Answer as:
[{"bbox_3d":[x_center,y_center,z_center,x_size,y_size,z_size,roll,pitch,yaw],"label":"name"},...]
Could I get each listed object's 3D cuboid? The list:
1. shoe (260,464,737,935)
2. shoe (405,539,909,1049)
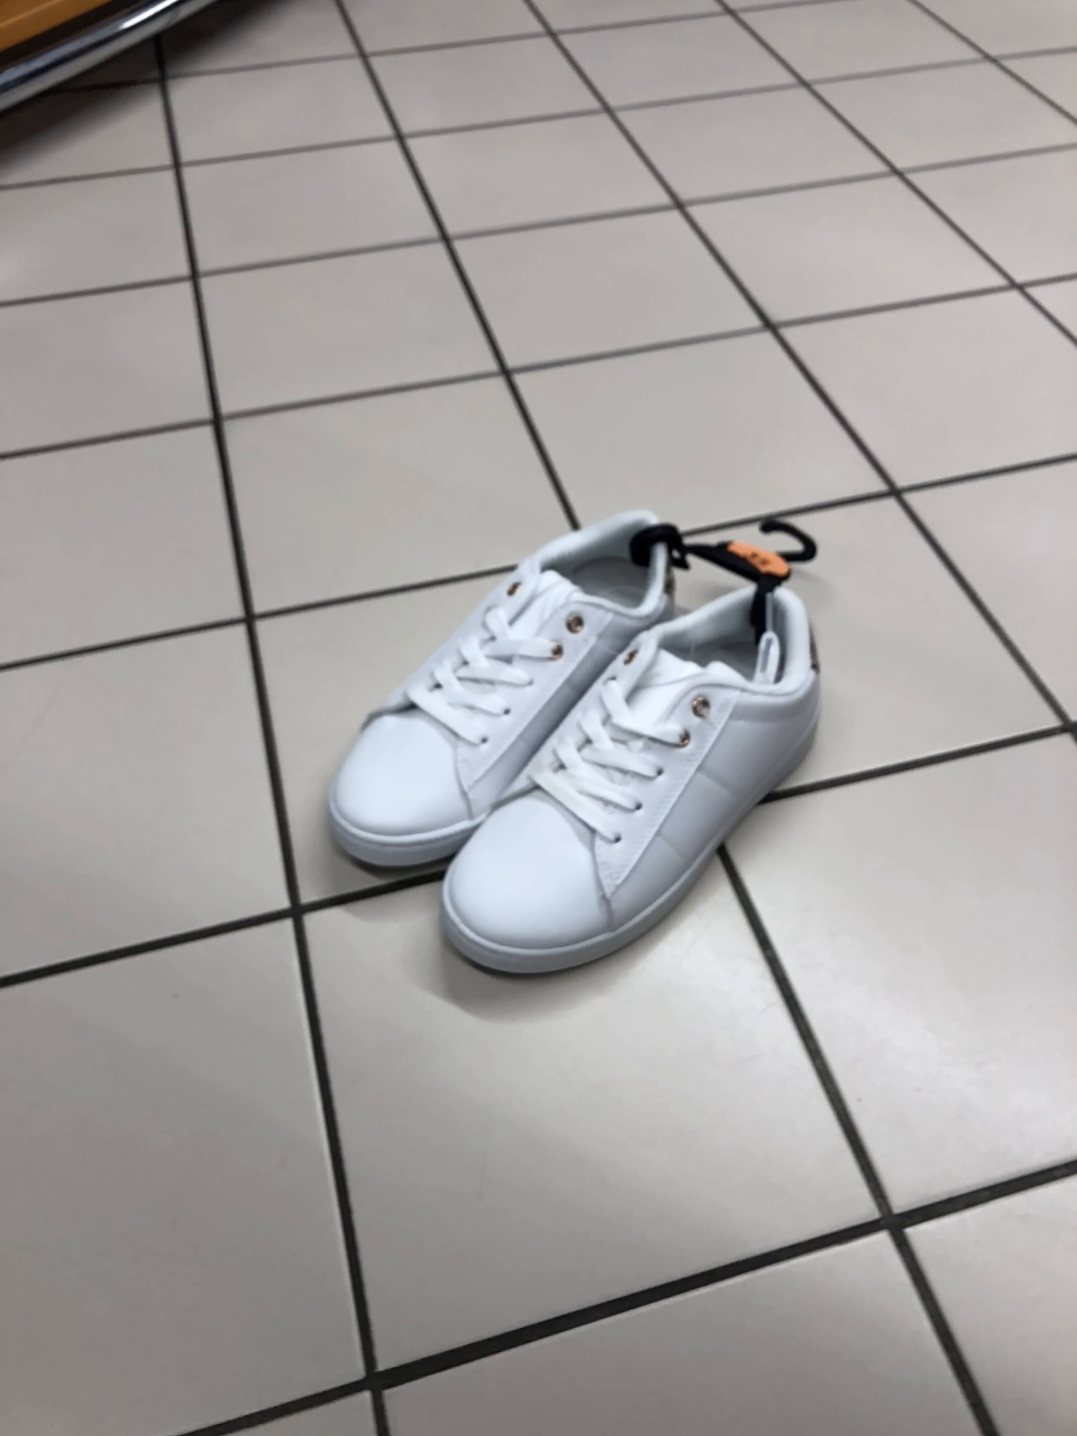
[{"bbox_3d":[-0.010,-0.019,0.594,0.090,0.080,0.241,31,56,25],"label":"shoe"},{"bbox_3d":[0.061,0.025,0.557,0.090,0.080,0.241,35,57,27],"label":"shoe"}]
